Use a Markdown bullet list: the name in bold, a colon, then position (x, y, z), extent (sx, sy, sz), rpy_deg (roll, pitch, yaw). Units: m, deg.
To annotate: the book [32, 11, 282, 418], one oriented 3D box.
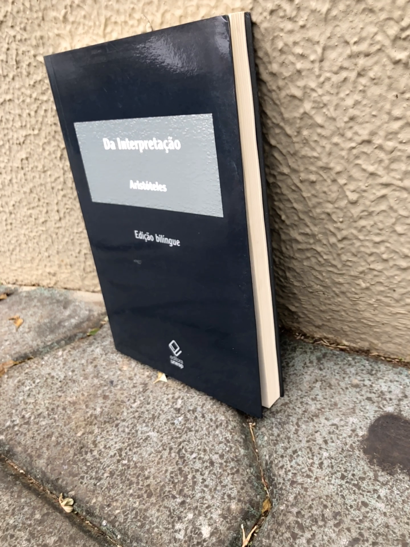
- **book**: position (-0.027, -0.028, 0.257), extent (0.132, 0.187, 0.030), rpy_deg (14, 31, 42)
